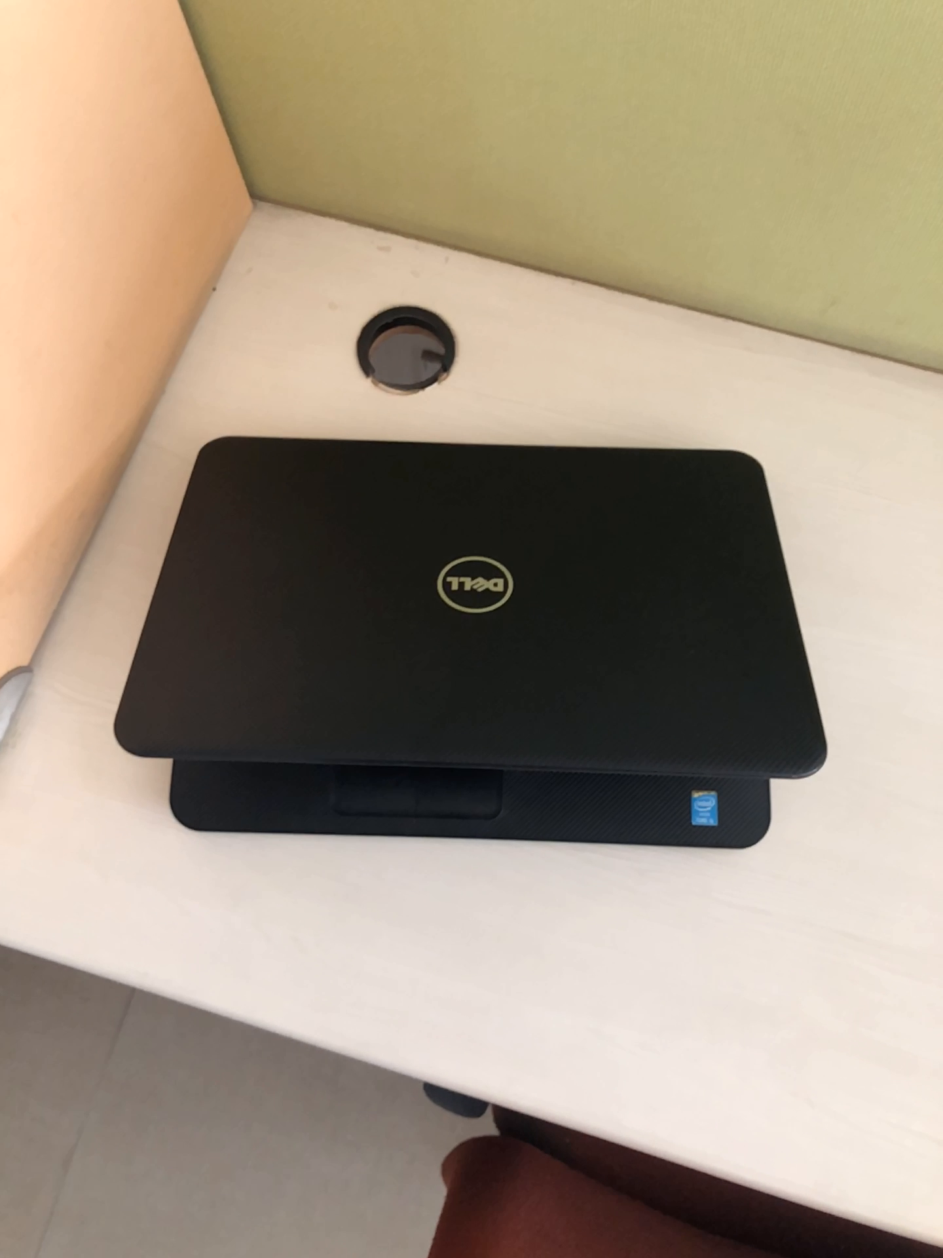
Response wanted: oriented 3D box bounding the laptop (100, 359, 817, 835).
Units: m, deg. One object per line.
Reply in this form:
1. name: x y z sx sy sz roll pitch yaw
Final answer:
1. laptop: -0.003 -0.015 0.613 0.366 0.107 0.247 2 75 1
